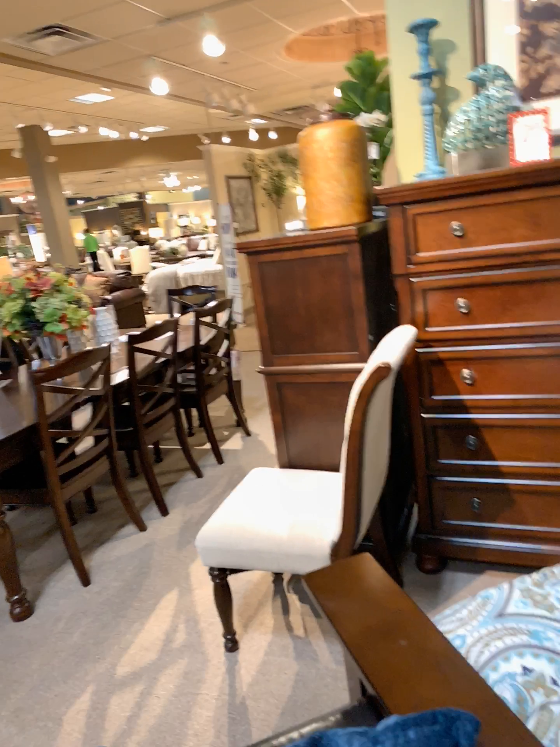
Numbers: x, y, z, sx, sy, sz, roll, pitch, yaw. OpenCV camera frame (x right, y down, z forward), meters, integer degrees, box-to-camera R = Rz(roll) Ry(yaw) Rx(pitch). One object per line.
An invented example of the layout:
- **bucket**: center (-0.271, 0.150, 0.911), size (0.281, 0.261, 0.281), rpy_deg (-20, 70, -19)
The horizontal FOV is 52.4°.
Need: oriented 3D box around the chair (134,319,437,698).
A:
- **chair**: center (0.086, 0.372, 1.861), size (0.717, 0.951, 0.586), rpy_deg (-1, 17, 22)
